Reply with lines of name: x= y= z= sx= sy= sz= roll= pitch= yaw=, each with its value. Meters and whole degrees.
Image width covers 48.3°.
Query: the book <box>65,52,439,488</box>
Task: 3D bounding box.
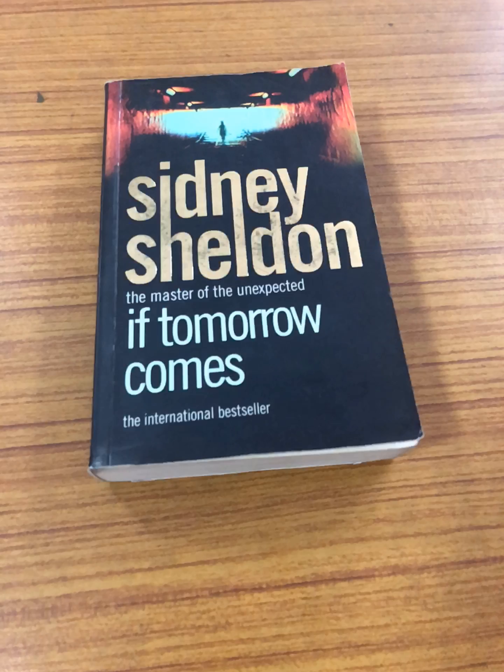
book: x=-0.006 y=-0.036 z=0.225 sx=0.114 sy=0.034 sz=0.176 roll=-4 pitch=65 yaw=-3
